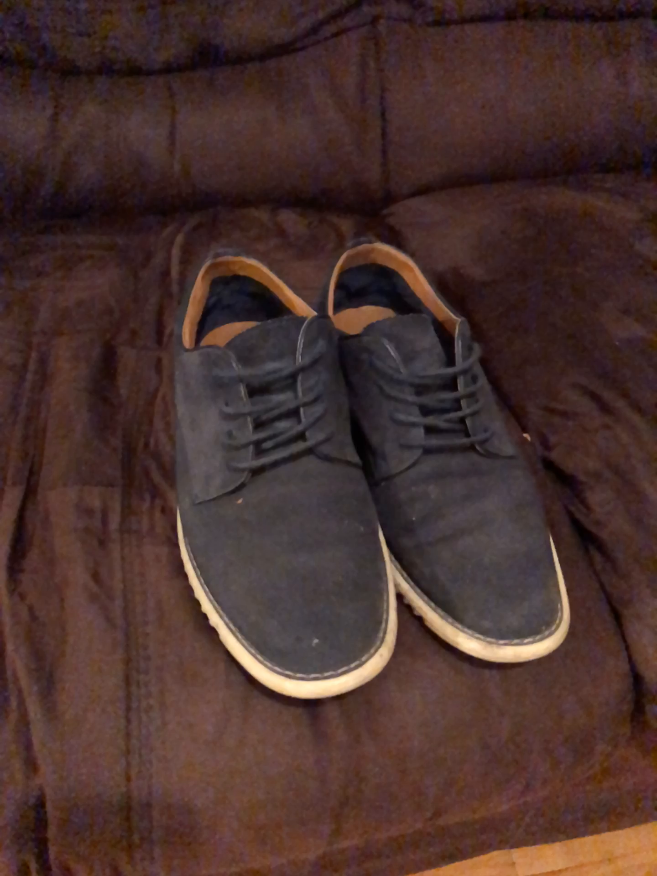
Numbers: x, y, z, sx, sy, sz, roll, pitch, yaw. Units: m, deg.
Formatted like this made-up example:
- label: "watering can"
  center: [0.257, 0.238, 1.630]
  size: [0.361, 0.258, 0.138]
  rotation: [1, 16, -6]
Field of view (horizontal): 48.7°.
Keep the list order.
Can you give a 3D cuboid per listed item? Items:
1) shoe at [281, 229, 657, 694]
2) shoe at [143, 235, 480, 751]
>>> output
- label: "shoe"
  center: [0.066, -0.014, 0.435]
  size: [0.120, 0.079, 0.292]
  rotation: [-11, 45, -13]
- label: "shoe"
  center: [-0.031, 0.003, 0.418]
  size: [0.120, 0.099, 0.292]
  rotation: [-8, 44, -10]
